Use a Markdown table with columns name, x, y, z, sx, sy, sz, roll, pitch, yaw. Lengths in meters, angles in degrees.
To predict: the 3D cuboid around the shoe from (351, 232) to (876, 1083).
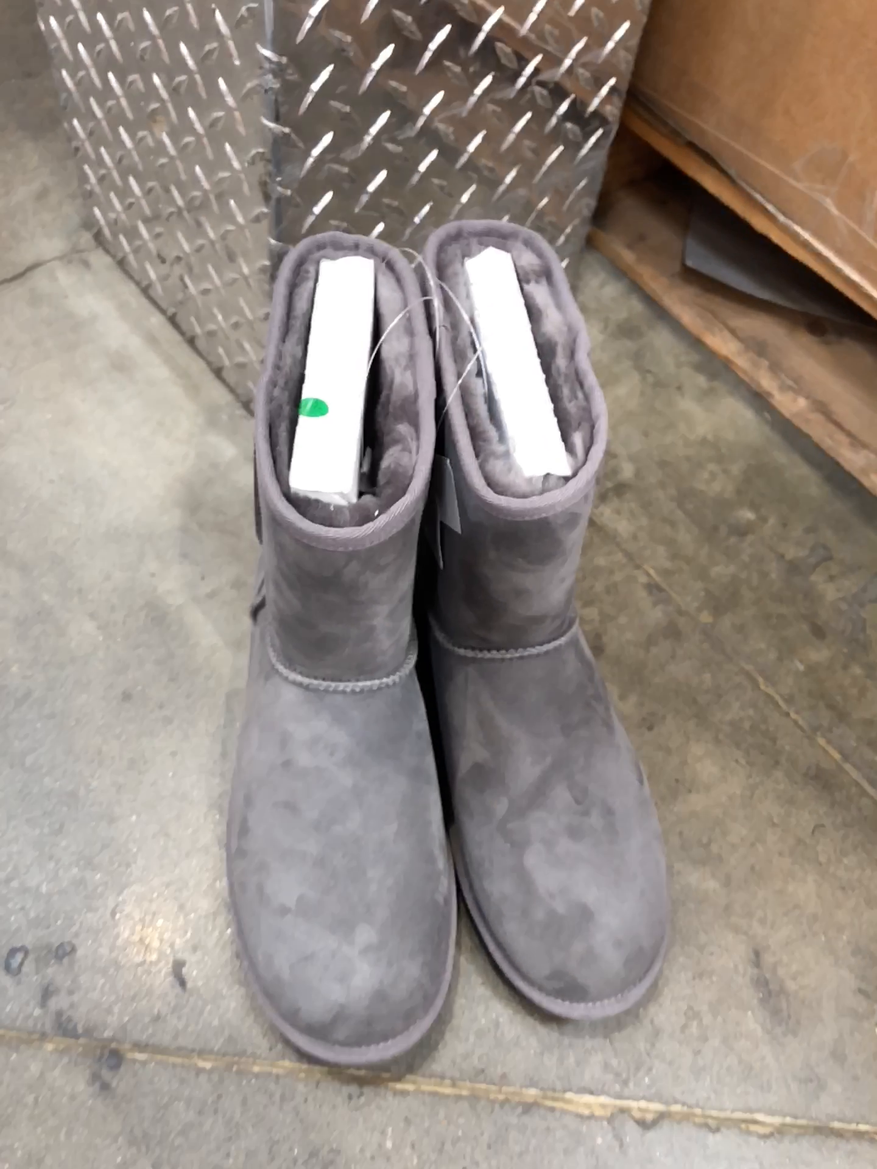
| name | x | y | z | sx | sy | sz | roll | pitch | yaw |
| --- | --- | --- | --- | --- | --- | --- | --- | --- | --- |
| shoe | 0.047 | 0.040 | 0.423 | 0.110 | 0.239 | 0.271 | -9 | 59 | -13 |

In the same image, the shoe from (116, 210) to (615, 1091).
| name | x | y | z | sx | sy | sz | roll | pitch | yaw |
| --- | --- | --- | --- | --- | --- | --- | --- | --- | --- |
| shoe | -0.041 | 0.037 | 0.411 | 0.120 | 0.239 | 0.281 | -2 | 58 | -8 |
